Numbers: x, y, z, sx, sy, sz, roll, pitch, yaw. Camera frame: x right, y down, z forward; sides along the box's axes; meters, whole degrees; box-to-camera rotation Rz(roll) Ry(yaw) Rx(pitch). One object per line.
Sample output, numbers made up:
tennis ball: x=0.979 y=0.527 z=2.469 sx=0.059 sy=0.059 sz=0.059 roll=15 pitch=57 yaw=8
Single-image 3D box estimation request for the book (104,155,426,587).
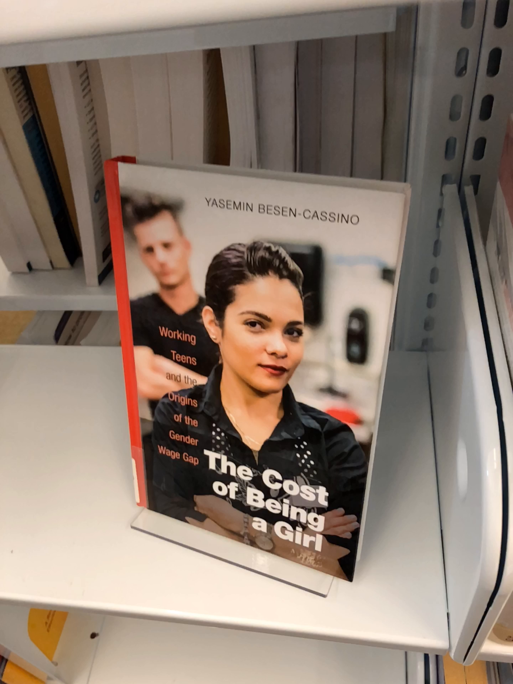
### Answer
book: x=-0.002 y=0.020 z=0.326 sx=0.157 sy=0.230 sz=0.030 roll=12 pitch=28 yaw=21
